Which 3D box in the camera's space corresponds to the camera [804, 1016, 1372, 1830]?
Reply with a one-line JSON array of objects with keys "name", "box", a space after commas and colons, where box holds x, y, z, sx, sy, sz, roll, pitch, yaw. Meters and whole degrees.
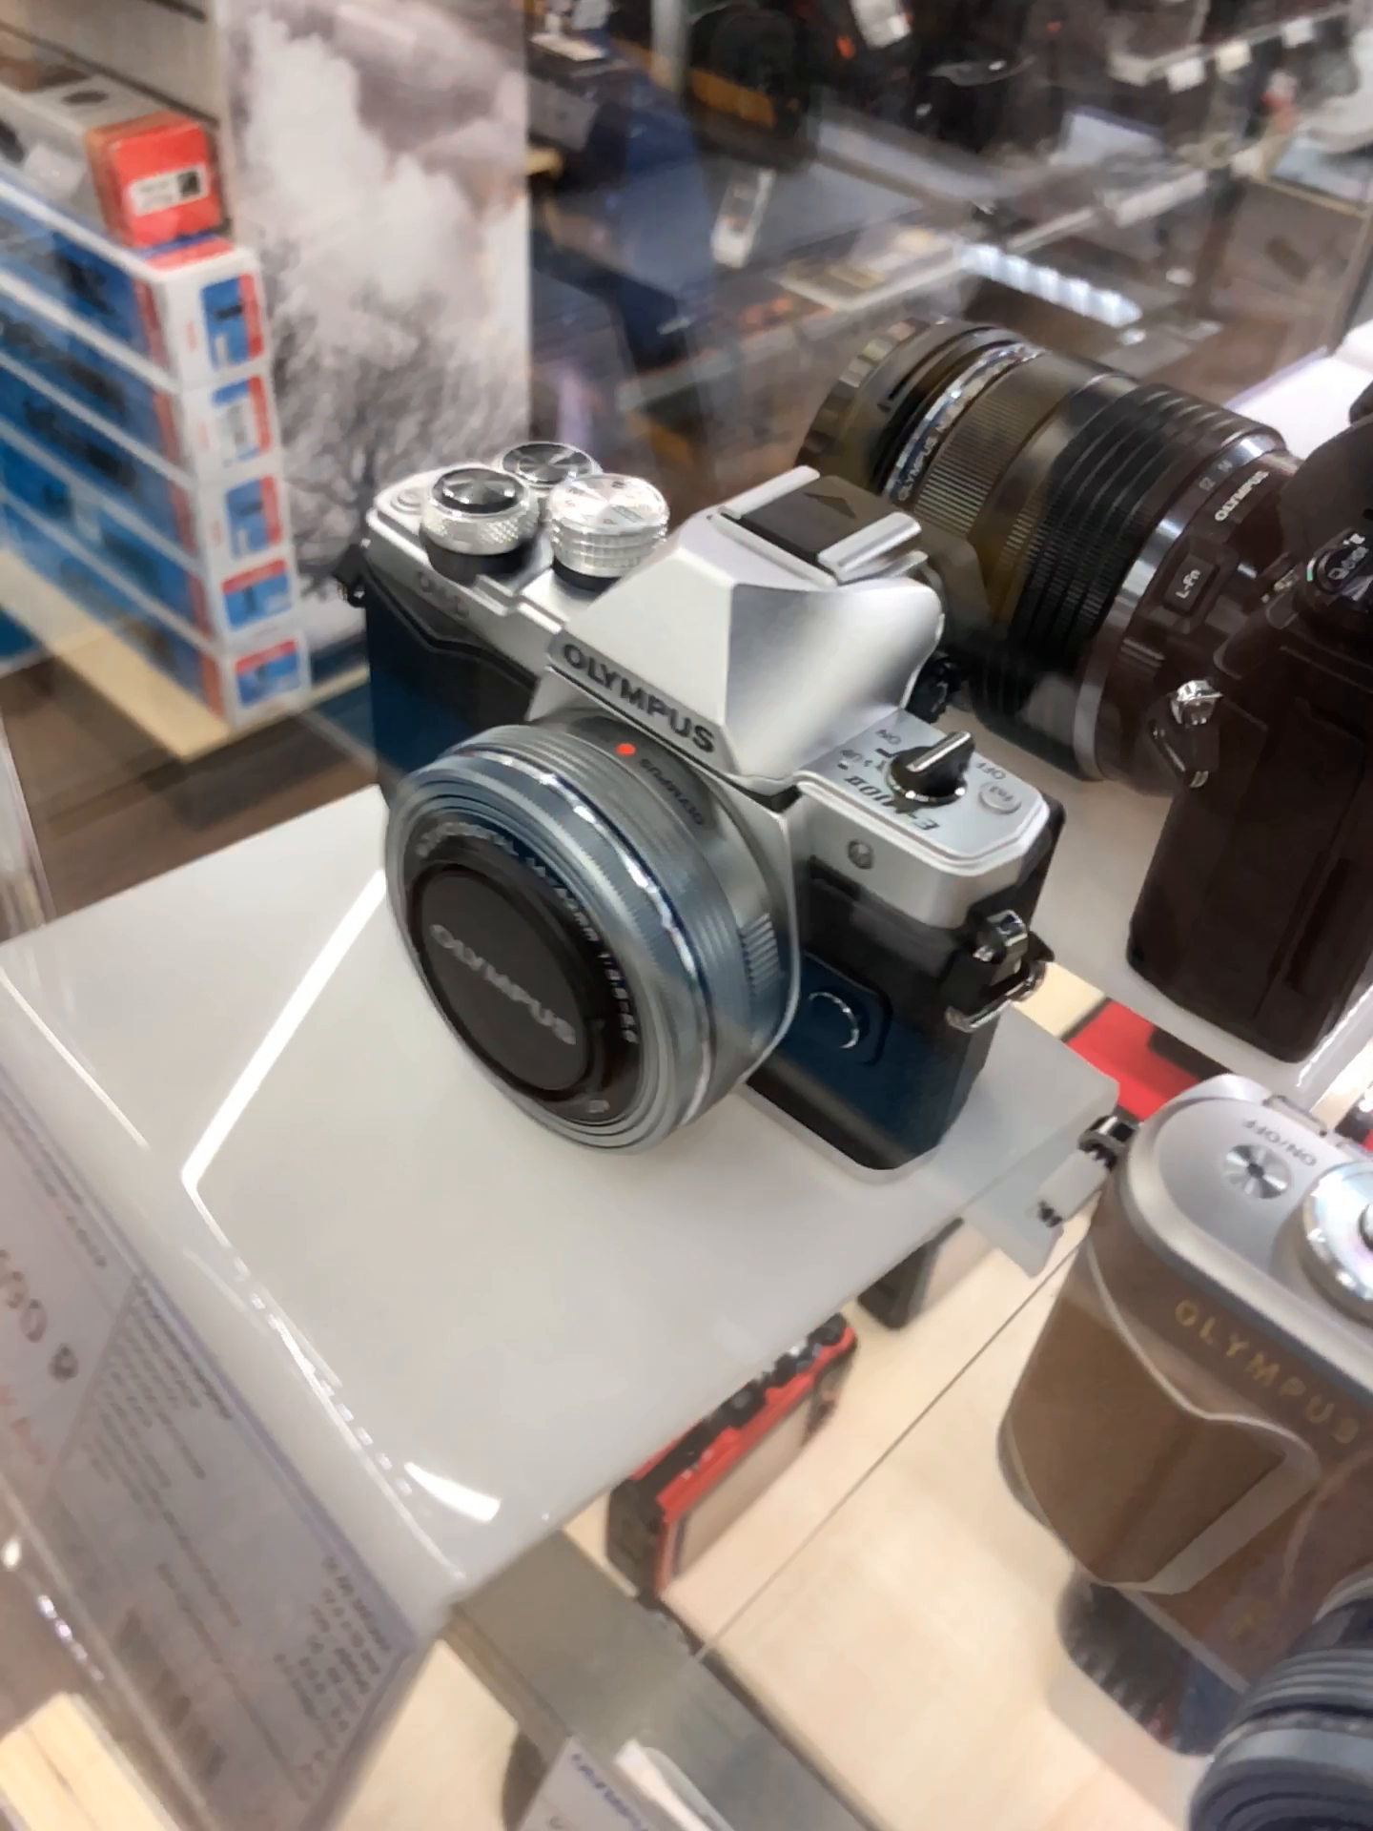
[{"name": "camera", "box": [0.089, 0.085, 0.150, 0.140, 0.062, 0.065, 35, 50, 28]}]

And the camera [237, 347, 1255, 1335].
[{"name": "camera", "box": [0.003, -0.018, 0.233, 0.120, 0.080, 0.072, 35, 50, 28]}]

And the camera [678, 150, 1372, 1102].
[{"name": "camera", "box": [0.086, -0.061, 0.271, 0.137, 0.087, 0.102, 36, 51, 29]}]
